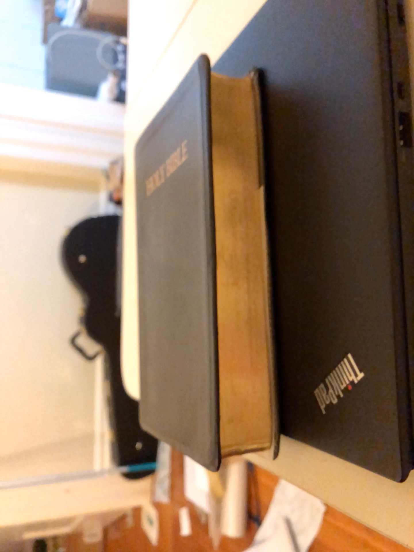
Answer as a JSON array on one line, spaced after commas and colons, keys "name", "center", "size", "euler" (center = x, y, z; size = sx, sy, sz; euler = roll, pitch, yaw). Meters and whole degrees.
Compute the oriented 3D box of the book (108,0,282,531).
[{"name": "book", "center": [-0.021, -0.008, 0.285], "size": [0.171, 0.040, 0.240], "euler": [163, 108, -66]}]
